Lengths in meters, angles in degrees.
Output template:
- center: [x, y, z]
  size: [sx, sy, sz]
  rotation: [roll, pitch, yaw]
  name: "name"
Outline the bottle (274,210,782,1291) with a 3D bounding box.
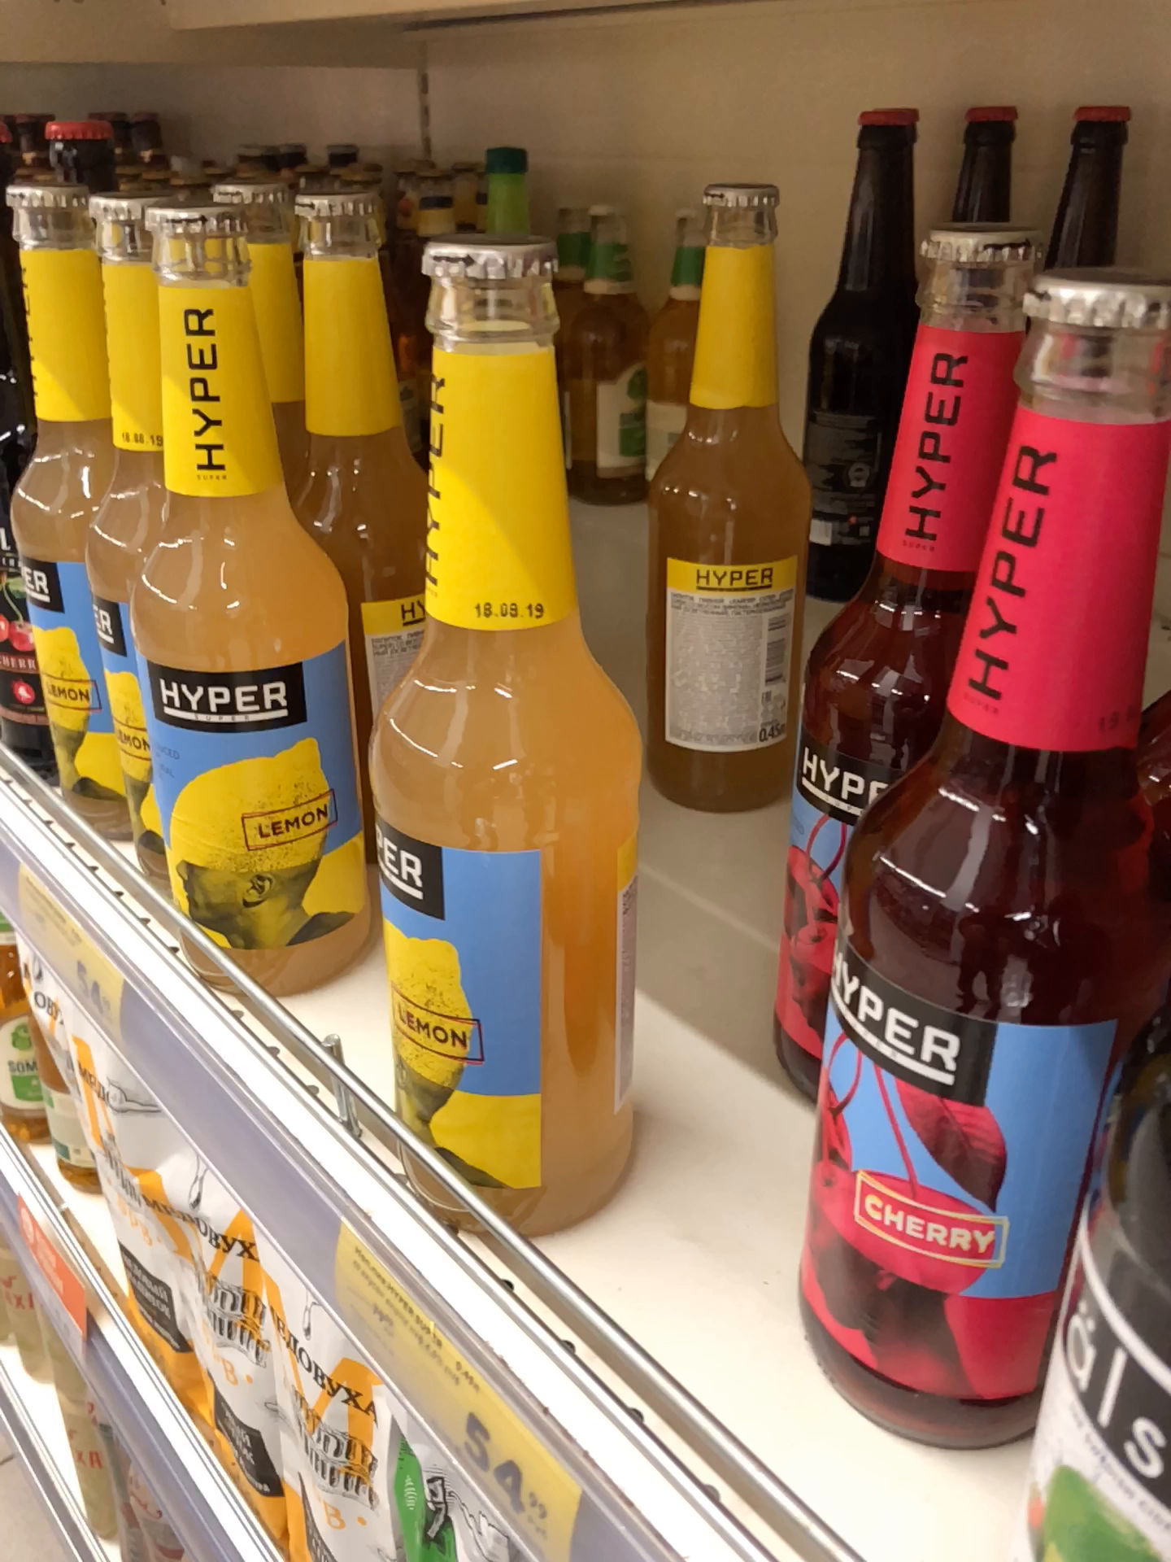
- center: [-0.015, -0.005, 0.313]
  size: [0.080, 0.239, 0.080]
  rotation: [0, 26, 0]
  name: "bottle"
